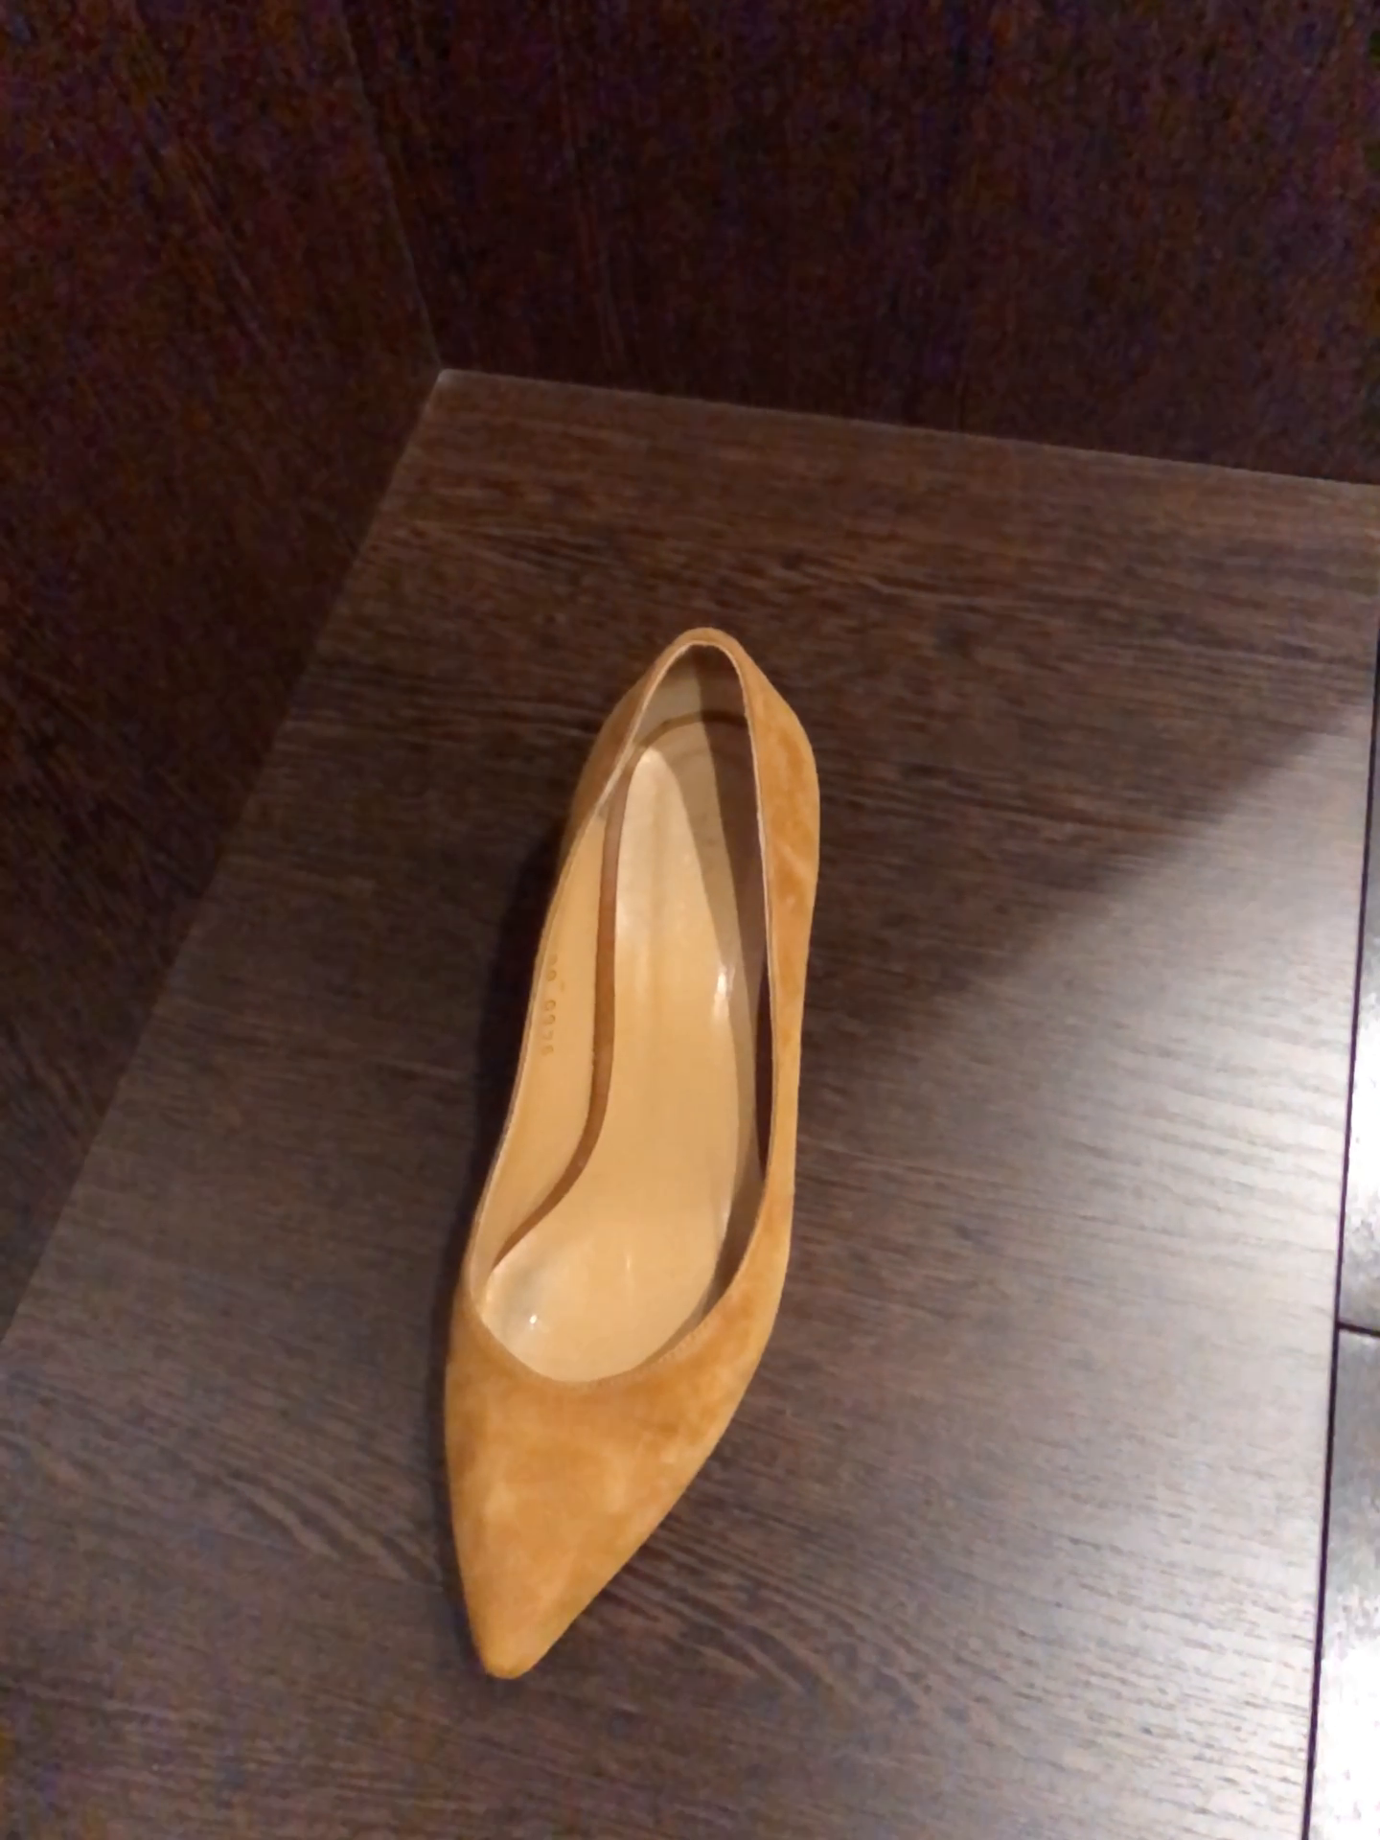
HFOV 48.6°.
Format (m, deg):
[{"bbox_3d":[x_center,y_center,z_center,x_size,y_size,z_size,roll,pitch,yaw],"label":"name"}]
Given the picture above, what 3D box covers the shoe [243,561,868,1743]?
[{"bbox_3d":[-0.015,0.049,0.389,0.090,0.100,0.270,6,62,9],"label":"shoe"}]
